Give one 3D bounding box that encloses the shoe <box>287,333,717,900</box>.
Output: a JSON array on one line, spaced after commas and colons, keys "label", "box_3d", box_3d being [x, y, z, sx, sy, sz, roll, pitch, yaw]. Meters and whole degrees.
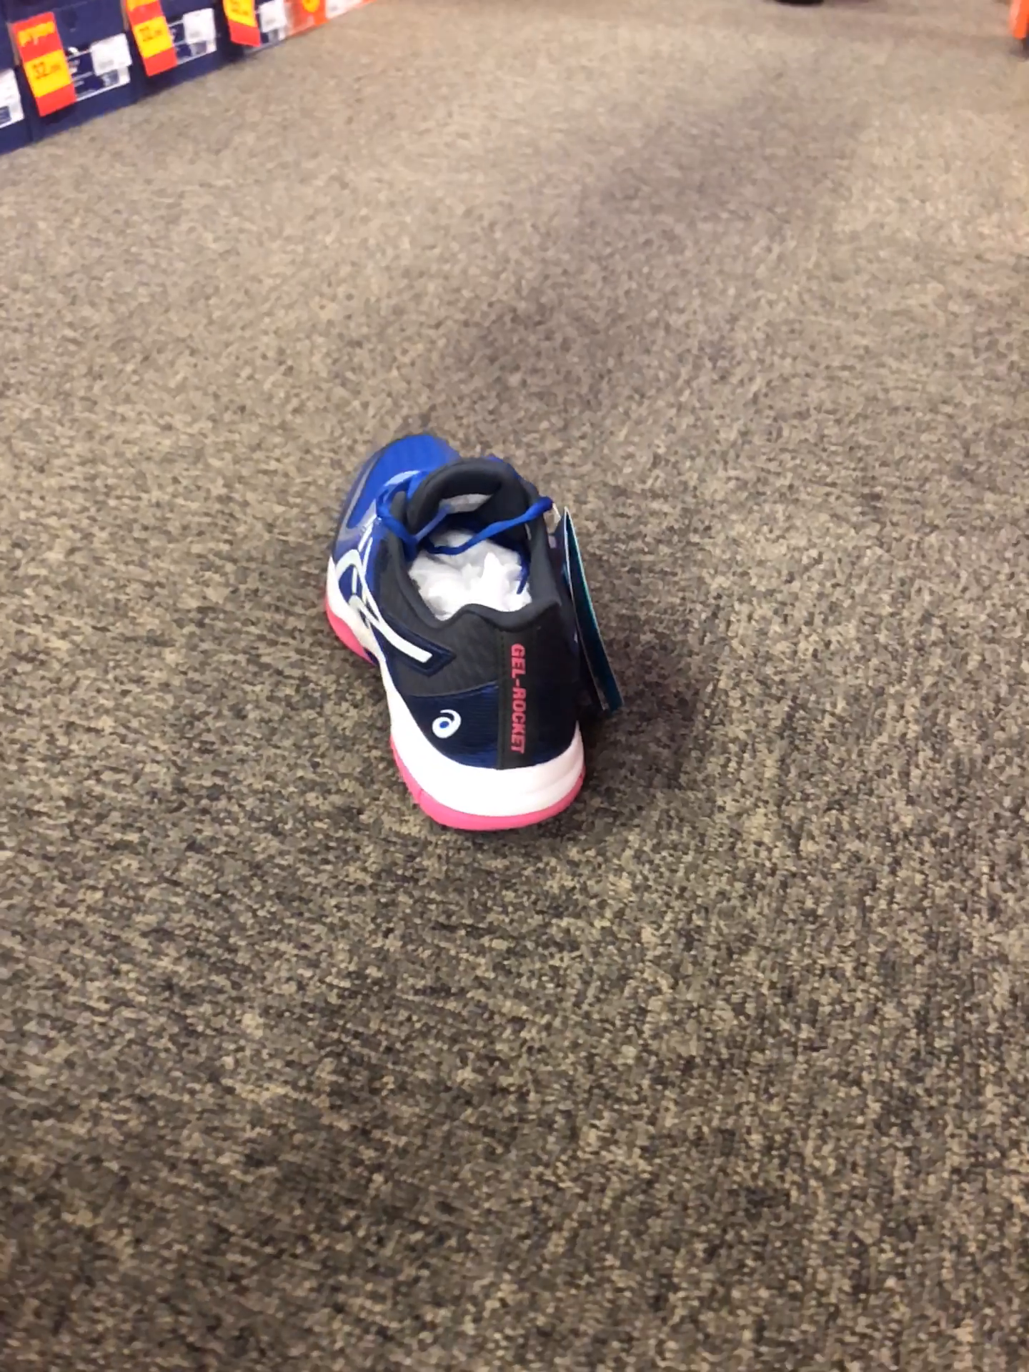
[{"label": "shoe", "box_3d": [-0.022, -0.051, 0.508, 0.125, 0.099, 0.271, -8, 40, -10]}]
